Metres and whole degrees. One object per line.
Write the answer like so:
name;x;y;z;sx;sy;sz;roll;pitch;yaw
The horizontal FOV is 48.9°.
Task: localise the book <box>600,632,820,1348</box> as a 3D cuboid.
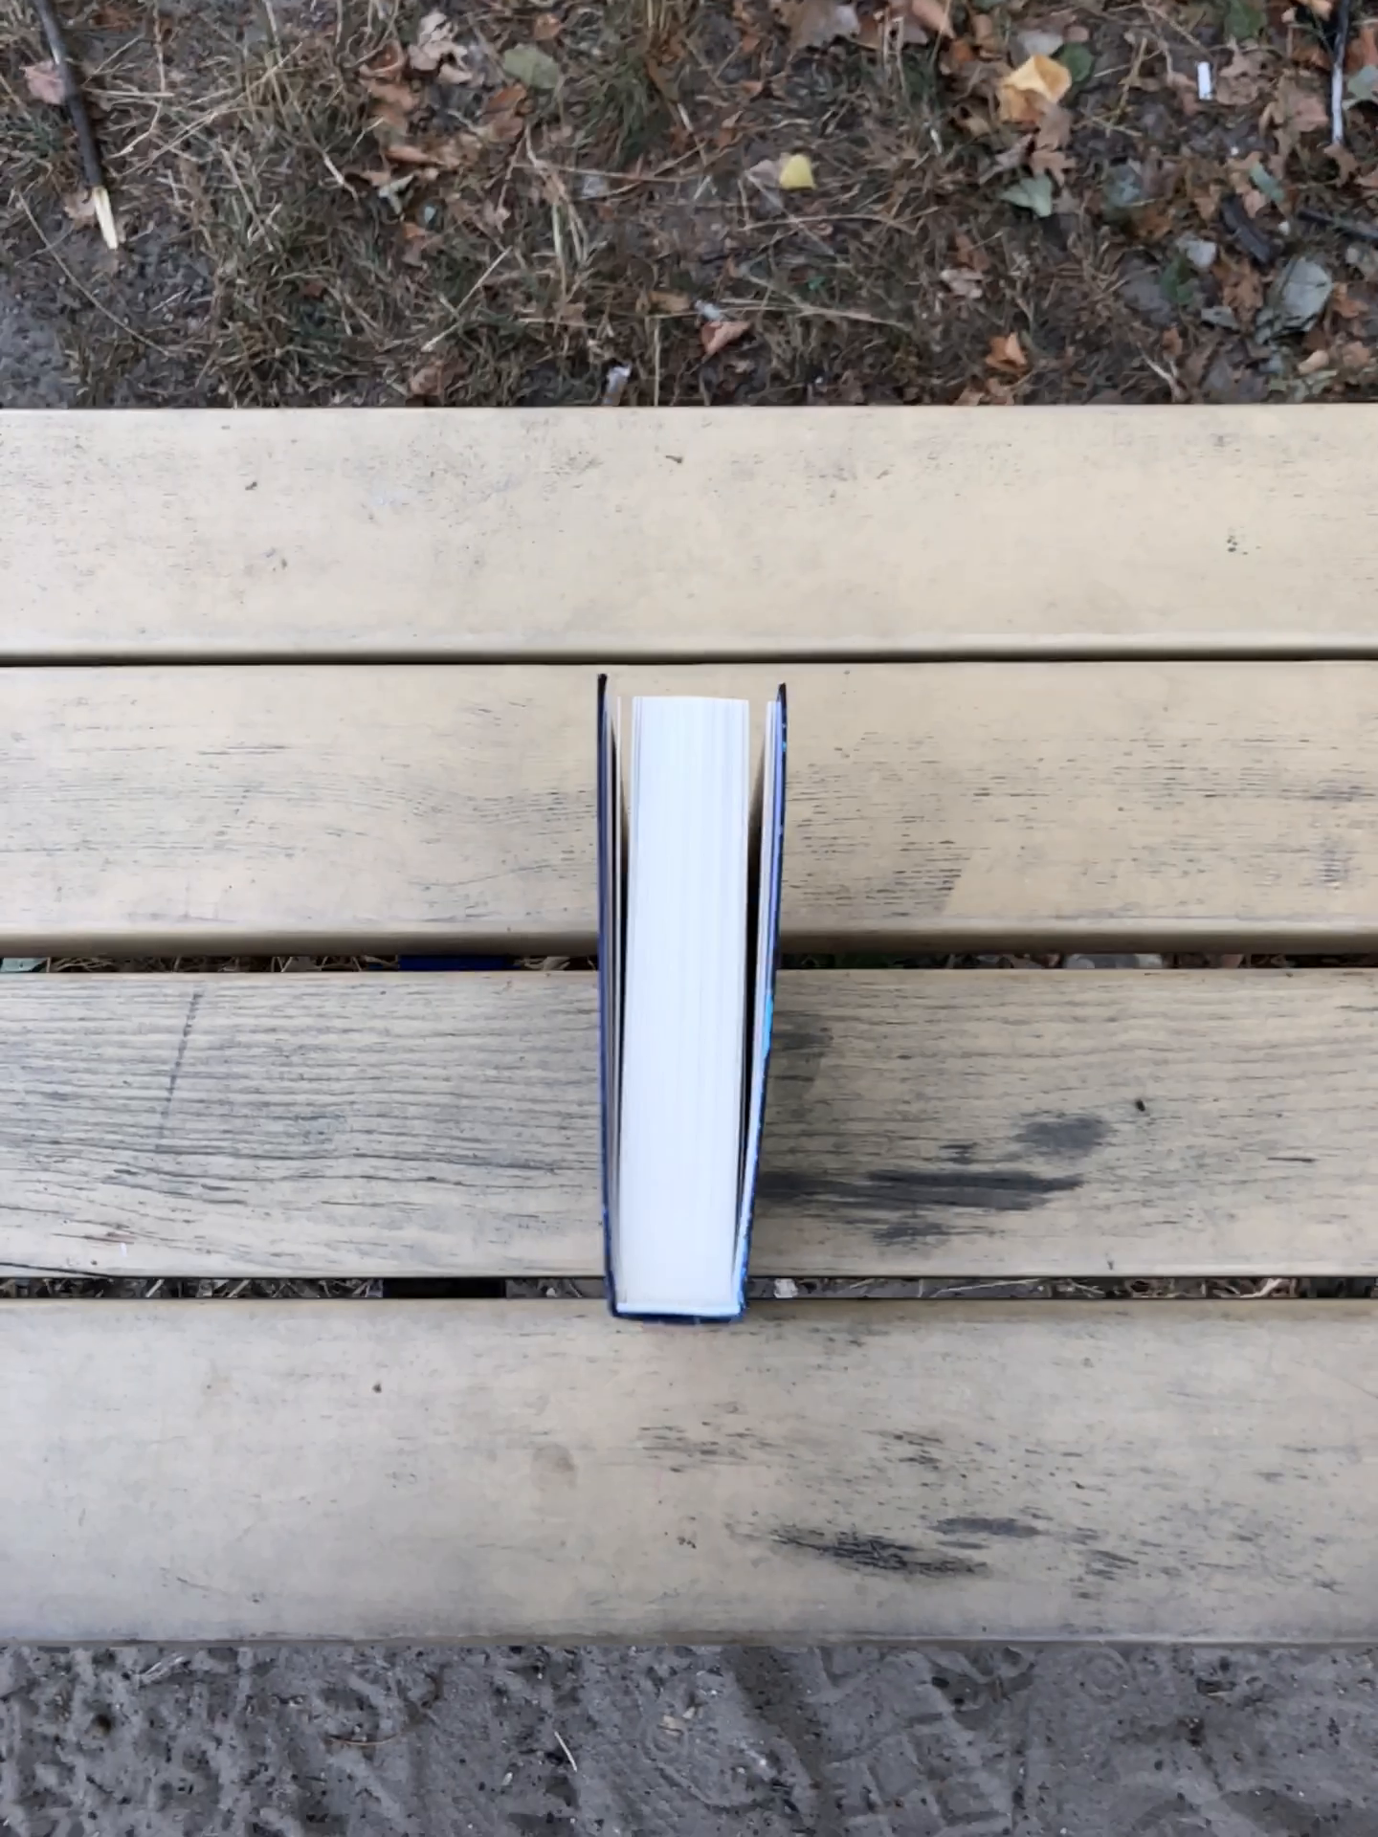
book;0.002;0.035;0.387;0.040;0.200;0.140;1;75;-1
